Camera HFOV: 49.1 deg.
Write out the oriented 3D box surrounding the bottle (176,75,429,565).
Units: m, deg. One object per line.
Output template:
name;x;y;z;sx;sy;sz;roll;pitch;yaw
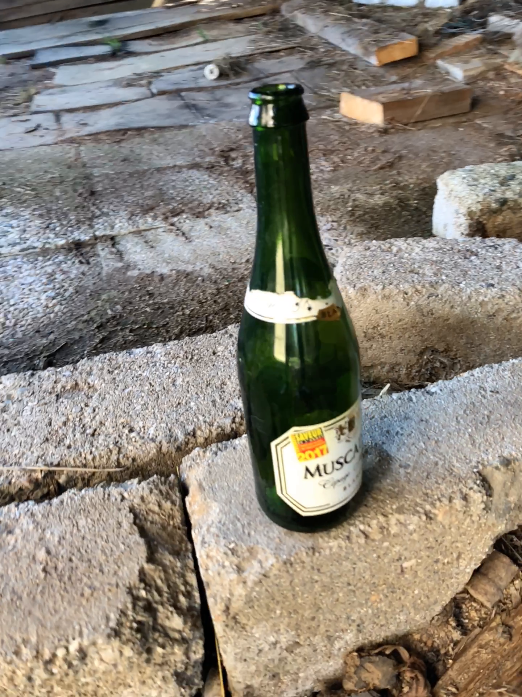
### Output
bottle;0.027;-0.007;0.367;0.090;0.288;0.090;-3;33;2
